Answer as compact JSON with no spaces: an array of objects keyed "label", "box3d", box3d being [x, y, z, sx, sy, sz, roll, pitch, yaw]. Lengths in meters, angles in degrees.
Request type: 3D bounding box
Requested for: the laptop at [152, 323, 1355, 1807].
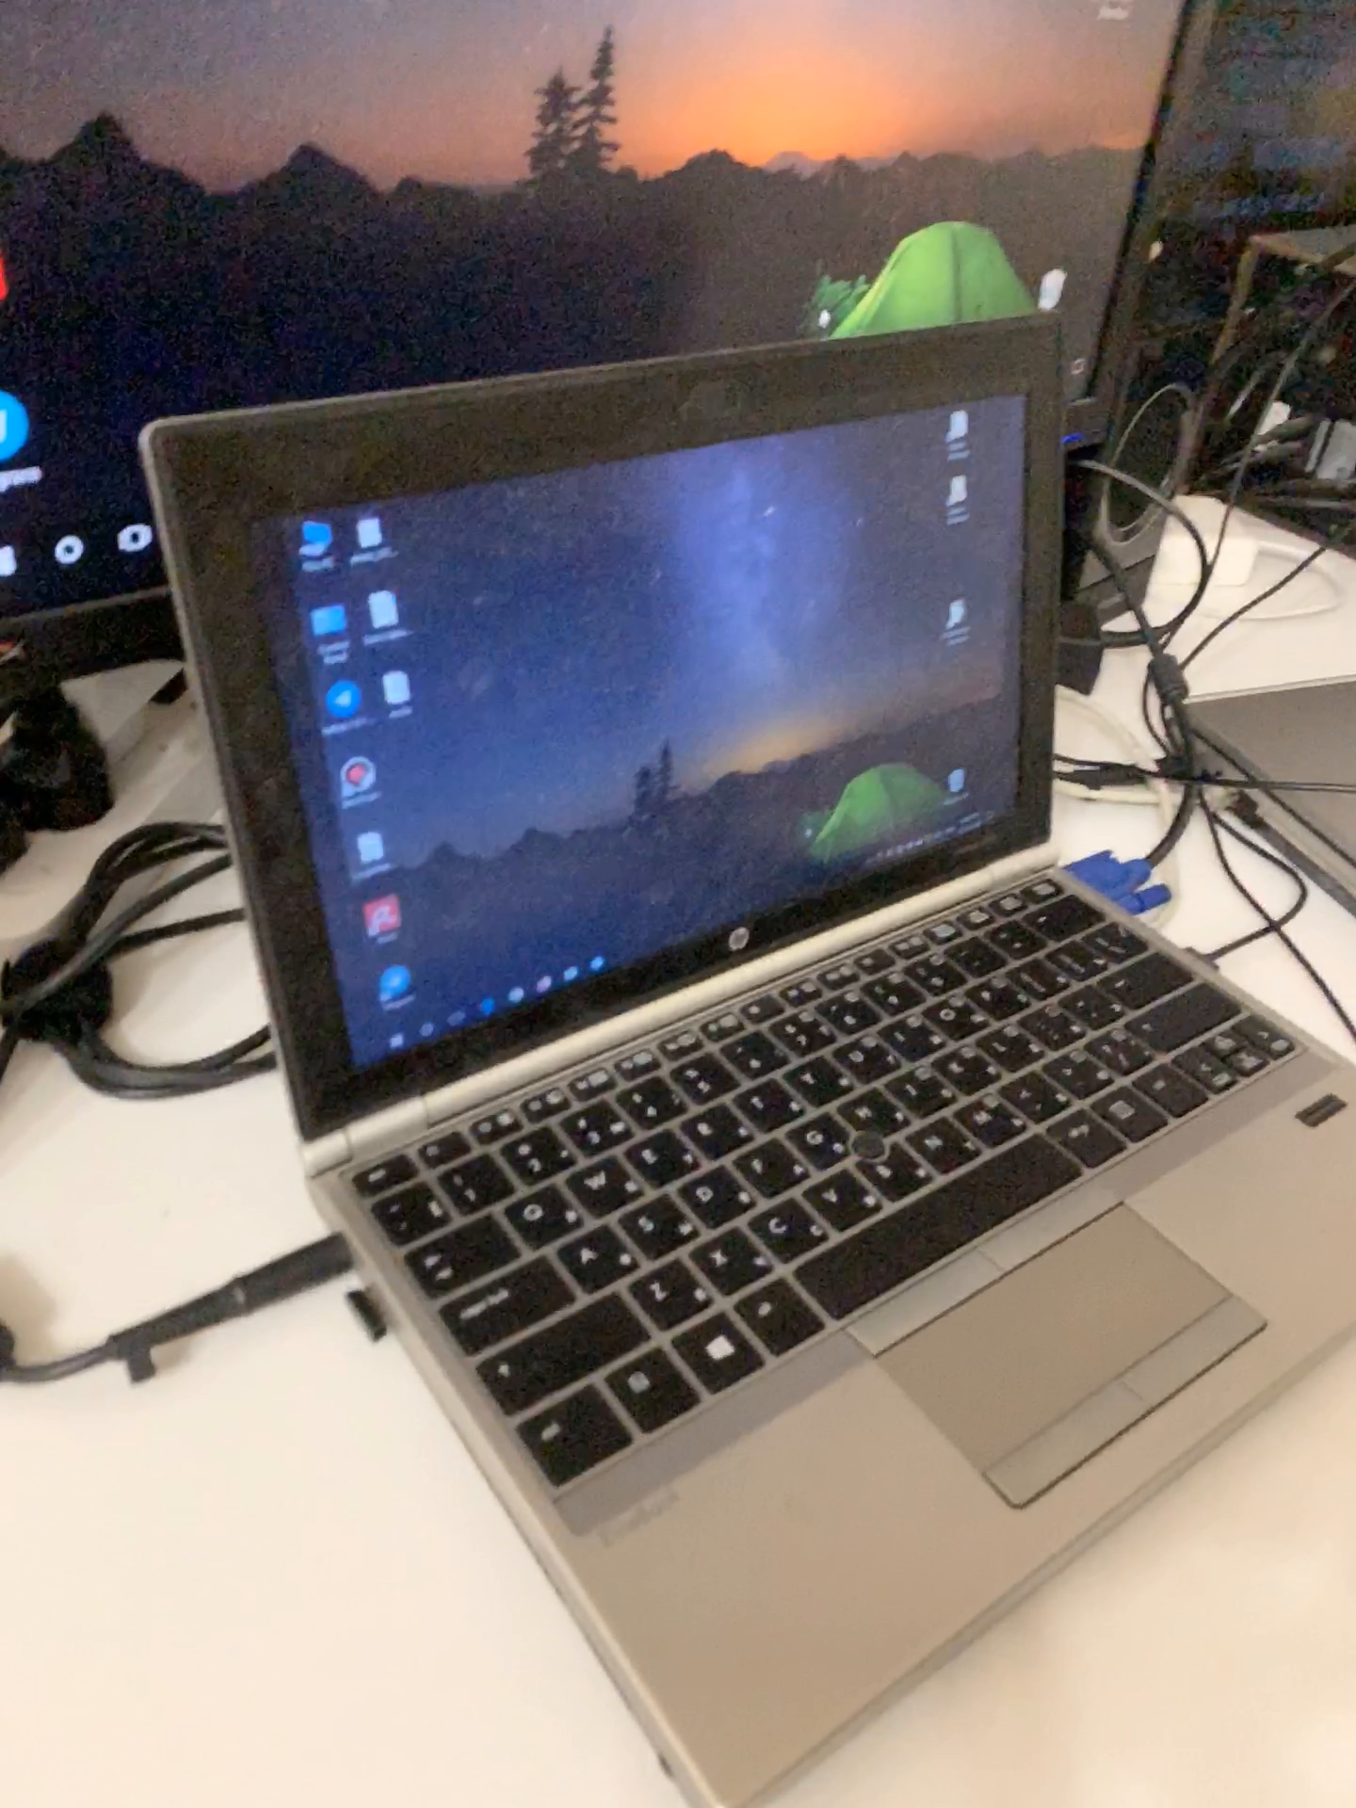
[{"label":"laptop","box3d":[0.065,-0.011,0.339,0.284,0.176,0.226,-20,42,-31]}]
